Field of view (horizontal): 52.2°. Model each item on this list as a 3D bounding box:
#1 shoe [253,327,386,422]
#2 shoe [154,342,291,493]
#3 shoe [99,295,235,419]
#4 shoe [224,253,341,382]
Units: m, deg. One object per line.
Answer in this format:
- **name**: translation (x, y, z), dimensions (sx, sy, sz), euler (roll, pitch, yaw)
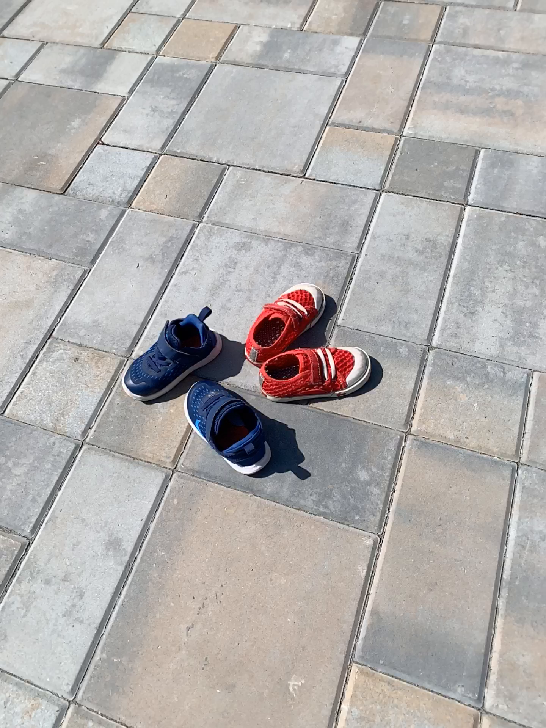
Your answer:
- **shoe**: translation (0.066, 0.016, 0.808), dimensions (0.170, 0.070, 0.080), euler (-12, 60, -1)
- **shoe**: translation (-0.070, 0.075, 0.793), dimensions (0.090, 0.090, 0.181), euler (-38, 63, -15)
- **shoe**: translation (-0.153, -0.011, 0.826), dimensions (0.170, 0.070, 0.080), euler (-35, 63, -14)
- **shoe**: translation (0.018, -0.071, 0.834), dimensions (0.080, 0.070, 0.170), euler (34, 69, 22)
